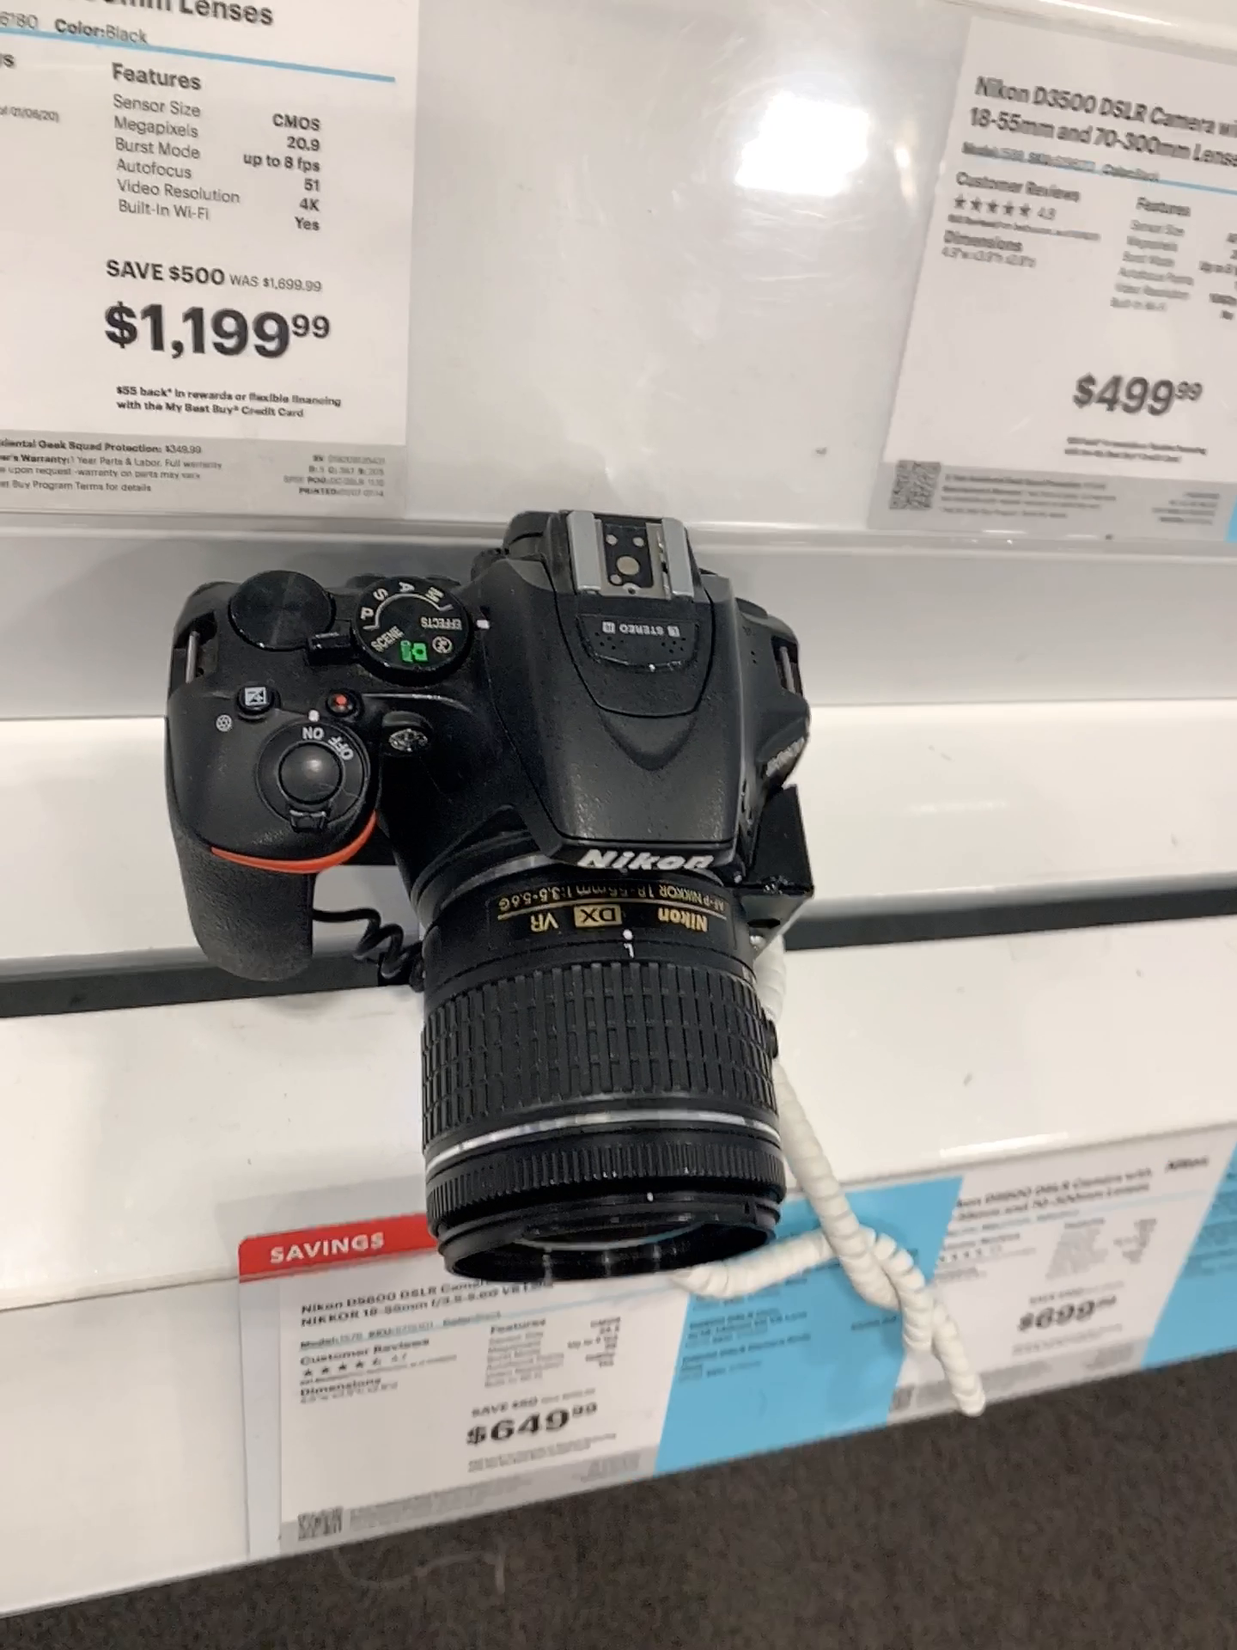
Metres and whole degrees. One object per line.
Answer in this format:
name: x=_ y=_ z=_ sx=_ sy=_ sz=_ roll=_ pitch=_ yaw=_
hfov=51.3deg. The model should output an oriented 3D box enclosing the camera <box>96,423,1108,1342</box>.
camera: x=-0.014 y=0.014 z=0.223 sx=0.130 sy=0.090 sz=0.120 roll=0 pitch=64 yaw=-17
